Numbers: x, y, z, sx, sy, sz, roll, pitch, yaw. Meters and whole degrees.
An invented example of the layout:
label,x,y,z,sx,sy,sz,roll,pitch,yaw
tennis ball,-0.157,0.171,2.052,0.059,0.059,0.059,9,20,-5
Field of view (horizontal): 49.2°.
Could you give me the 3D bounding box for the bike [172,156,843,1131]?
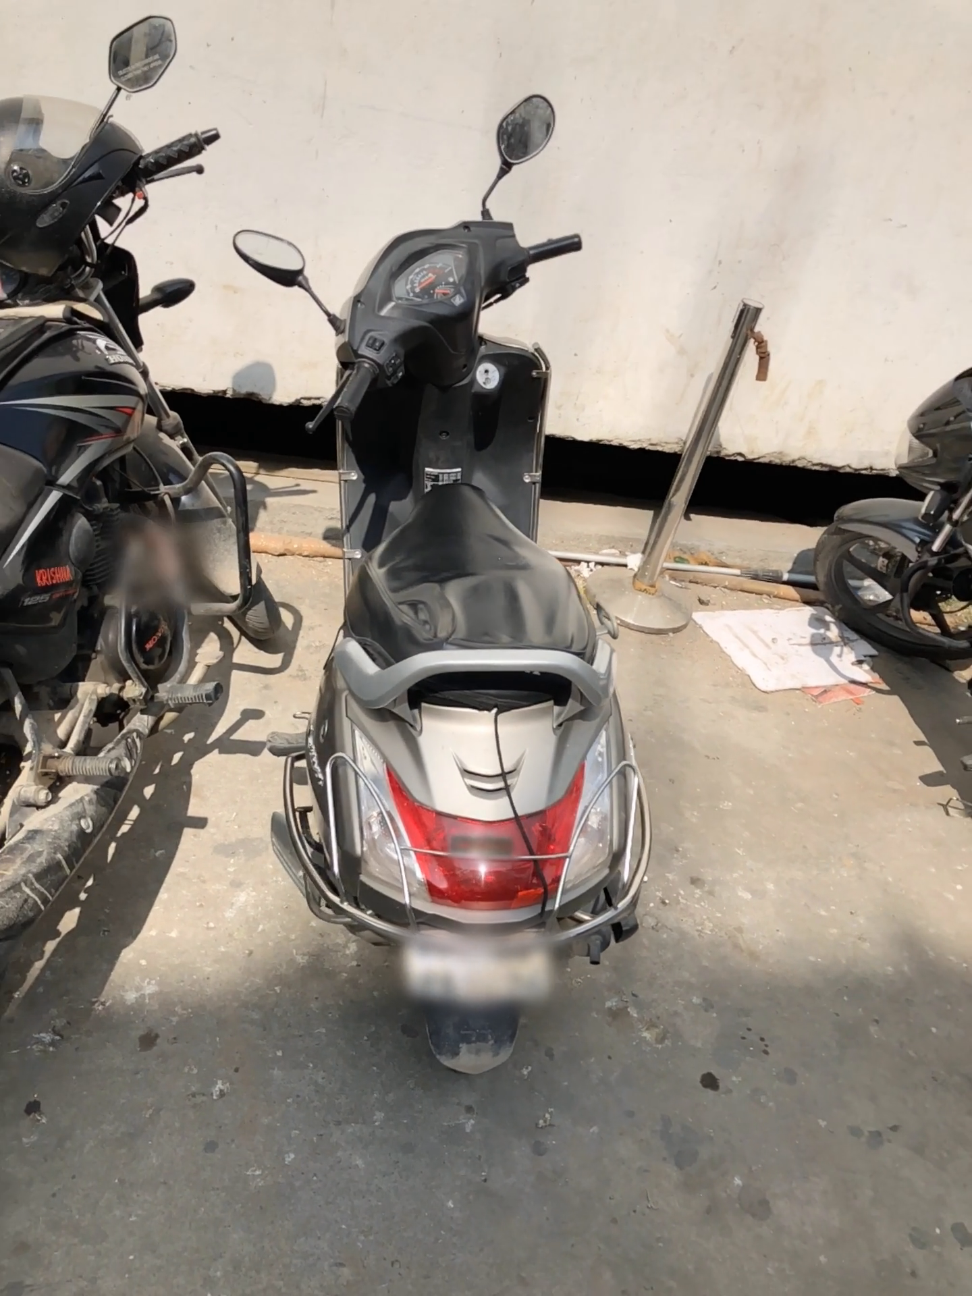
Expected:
label,x,y,z,sx,sy,sz,roll,pitch,yaw
bike,-0.092,-0.138,1.966,0.616,1.107,1.508,8,32,-11
